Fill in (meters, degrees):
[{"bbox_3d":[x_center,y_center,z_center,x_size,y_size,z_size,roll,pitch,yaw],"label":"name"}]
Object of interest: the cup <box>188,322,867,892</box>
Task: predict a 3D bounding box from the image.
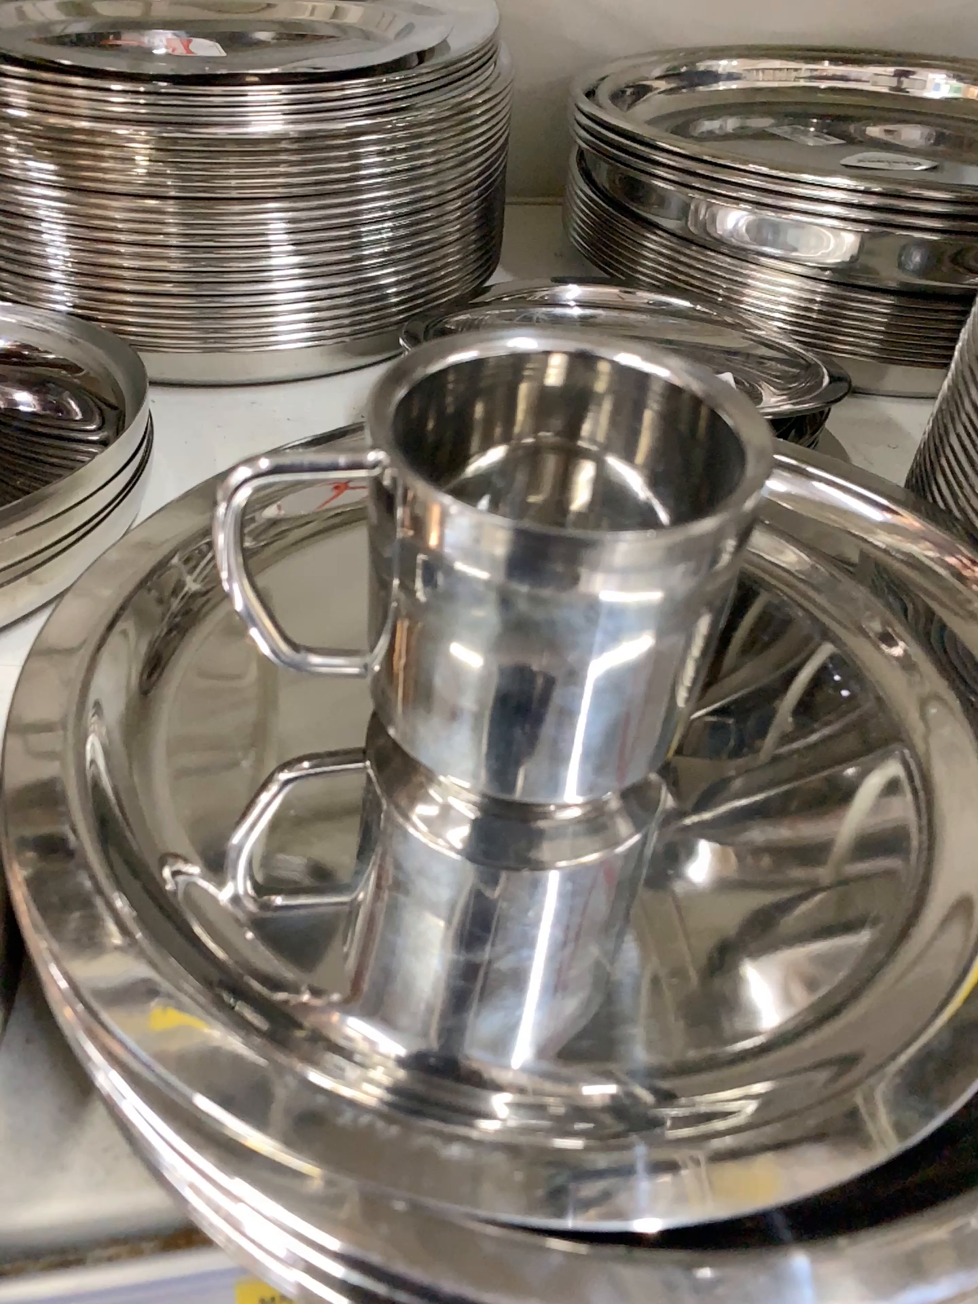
[{"bbox_3d":[0.001,-0.011,0.180,0.090,0.070,0.070,-3,42,-8],"label":"cup"}]
